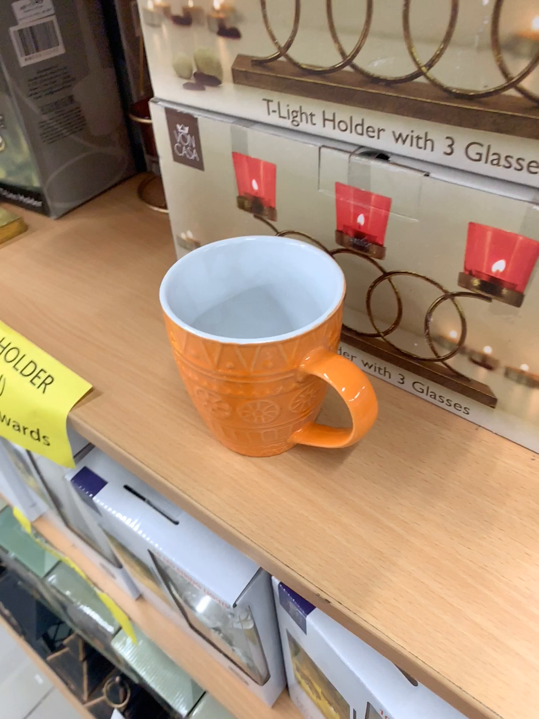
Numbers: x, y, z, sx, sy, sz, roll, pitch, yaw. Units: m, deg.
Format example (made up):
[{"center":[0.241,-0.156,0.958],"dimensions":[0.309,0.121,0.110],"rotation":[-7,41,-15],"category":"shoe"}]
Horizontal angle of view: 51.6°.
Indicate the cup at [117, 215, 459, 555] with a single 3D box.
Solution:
[{"center":[0.005,0.004,0.257],"dimensions":[0.080,0.080,0.120],"rotation":[-33,51,-30],"category":"cup"}]
